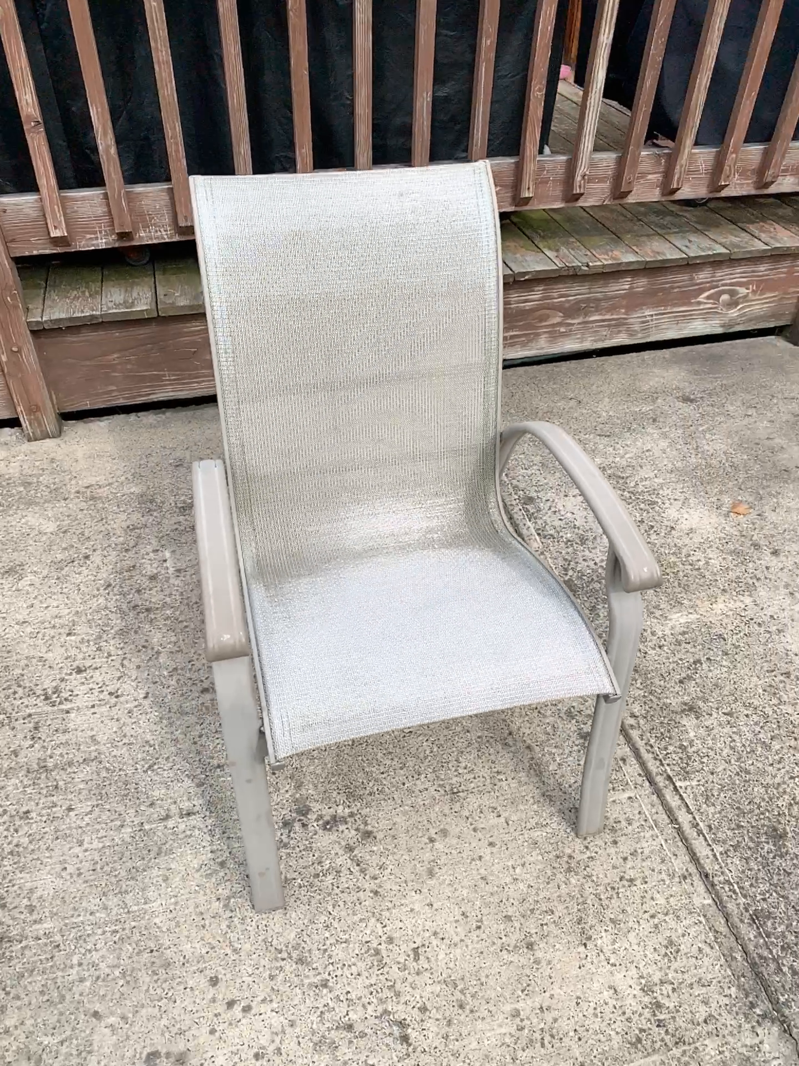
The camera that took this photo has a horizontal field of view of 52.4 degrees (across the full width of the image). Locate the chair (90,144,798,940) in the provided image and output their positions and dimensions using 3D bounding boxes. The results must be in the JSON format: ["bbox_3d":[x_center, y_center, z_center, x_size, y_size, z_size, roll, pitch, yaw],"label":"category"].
[{"bbox_3d":[-0.028,-0.027,1.269,0.650,0.845,0.795,-8,41,-11],"label":"chair"}]
